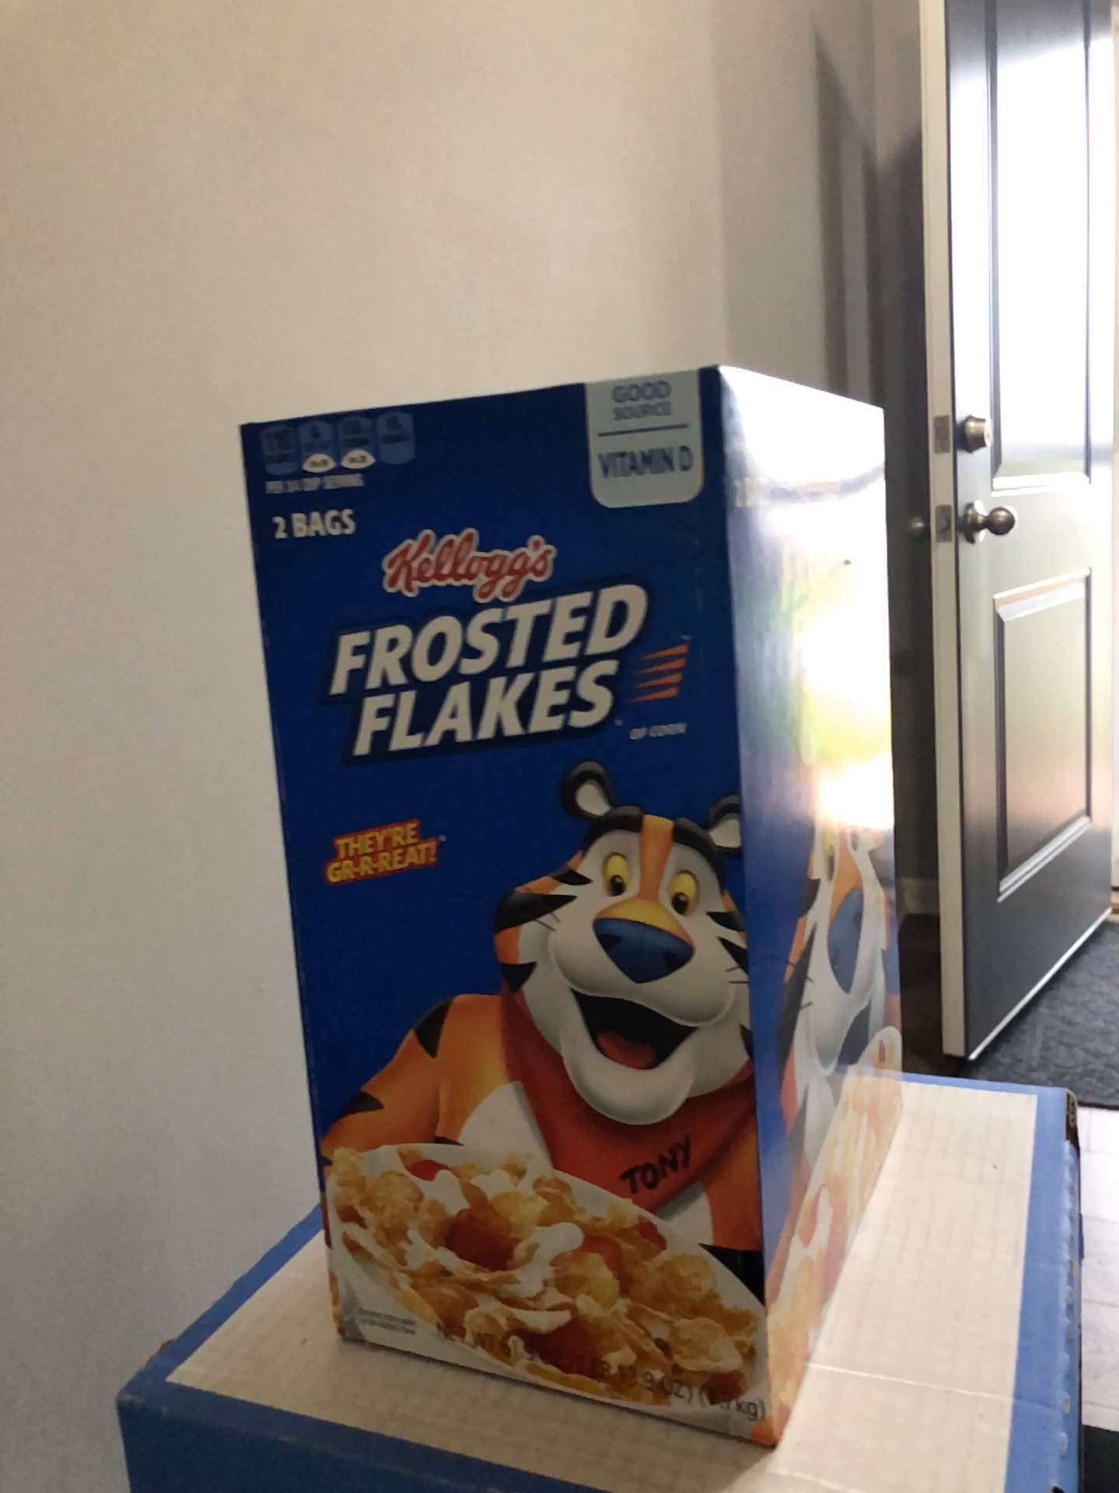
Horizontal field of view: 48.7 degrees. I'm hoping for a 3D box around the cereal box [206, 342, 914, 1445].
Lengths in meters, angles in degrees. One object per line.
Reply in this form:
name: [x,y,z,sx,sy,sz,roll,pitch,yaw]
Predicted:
cereal box: [0.030,0.027,0.498,0.170,0.319,0.260,0,11,25]
